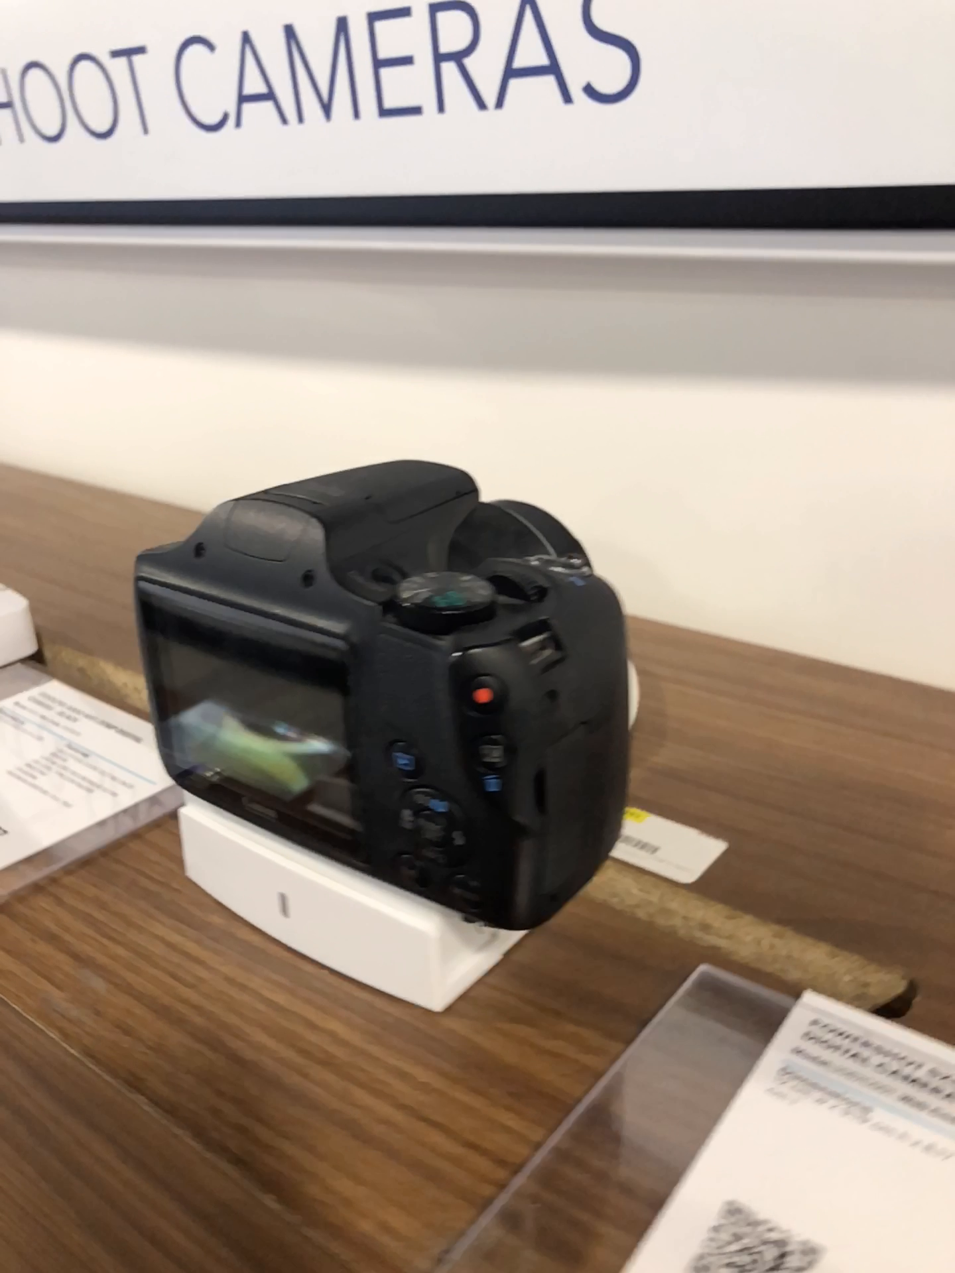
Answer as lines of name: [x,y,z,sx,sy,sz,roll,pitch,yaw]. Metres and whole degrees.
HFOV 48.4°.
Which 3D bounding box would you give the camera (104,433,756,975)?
camera: [-0.009,0.003,0.270,0.120,0.080,0.101,14,26,32]
